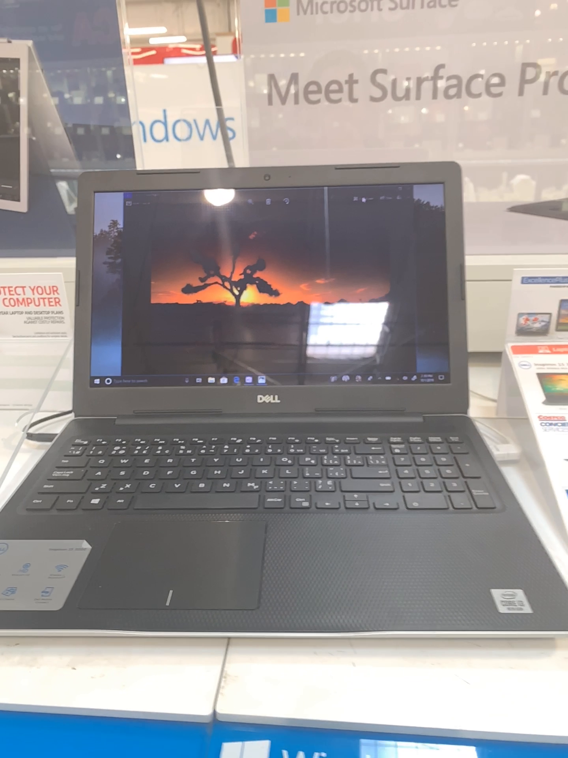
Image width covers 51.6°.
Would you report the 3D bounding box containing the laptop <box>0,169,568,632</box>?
[{"bbox_3d":[-0.016,-0.031,0.425,0.357,0.205,0.343,0,23,1],"label":"laptop"}]
